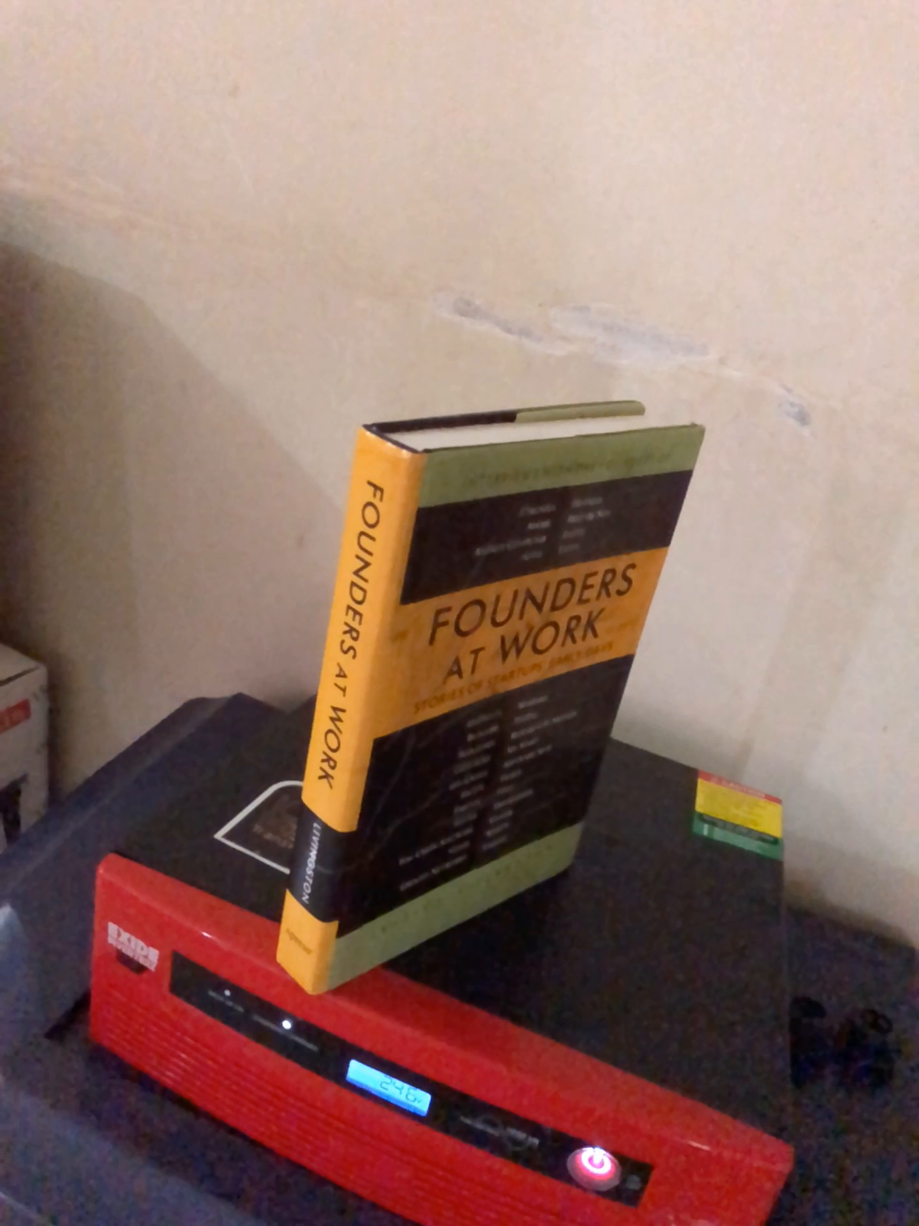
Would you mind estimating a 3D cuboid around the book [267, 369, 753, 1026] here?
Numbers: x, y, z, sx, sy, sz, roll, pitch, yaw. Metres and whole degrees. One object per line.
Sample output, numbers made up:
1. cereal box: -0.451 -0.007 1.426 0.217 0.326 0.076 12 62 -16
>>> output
1. book: 0.018 0.031 0.425 0.181 0.249 0.040 -15 36 -40
